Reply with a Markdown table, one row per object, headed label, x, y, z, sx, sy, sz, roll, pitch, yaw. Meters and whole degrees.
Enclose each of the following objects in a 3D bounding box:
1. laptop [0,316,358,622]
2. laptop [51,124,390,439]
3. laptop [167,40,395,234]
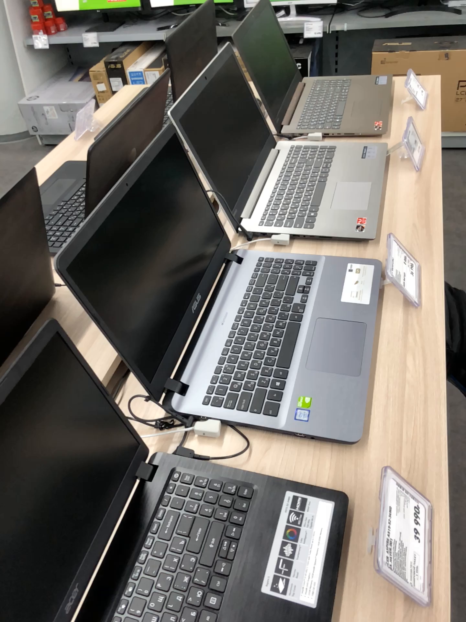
| label | x | y | z | sx | sy | sz | roll | pitch | yaw |
| --- | --- | --- | --- | --- | --- | --- | --- | --- | --- |
| laptop | -0.071 | 0.216 | 0.402 | 0.291 | 0.222 | 0.334 | 7 | 44 | 16 |
| laptop | 0.024 | -0.066 | 0.691 | 0.328 | 0.226 | 0.346 | 6 | 44 | 15 |
| laptop | 0.121 | -0.350 | 0.994 | 0.332 | 0.220 | 0.372 | 6 | 43 | 13 |
